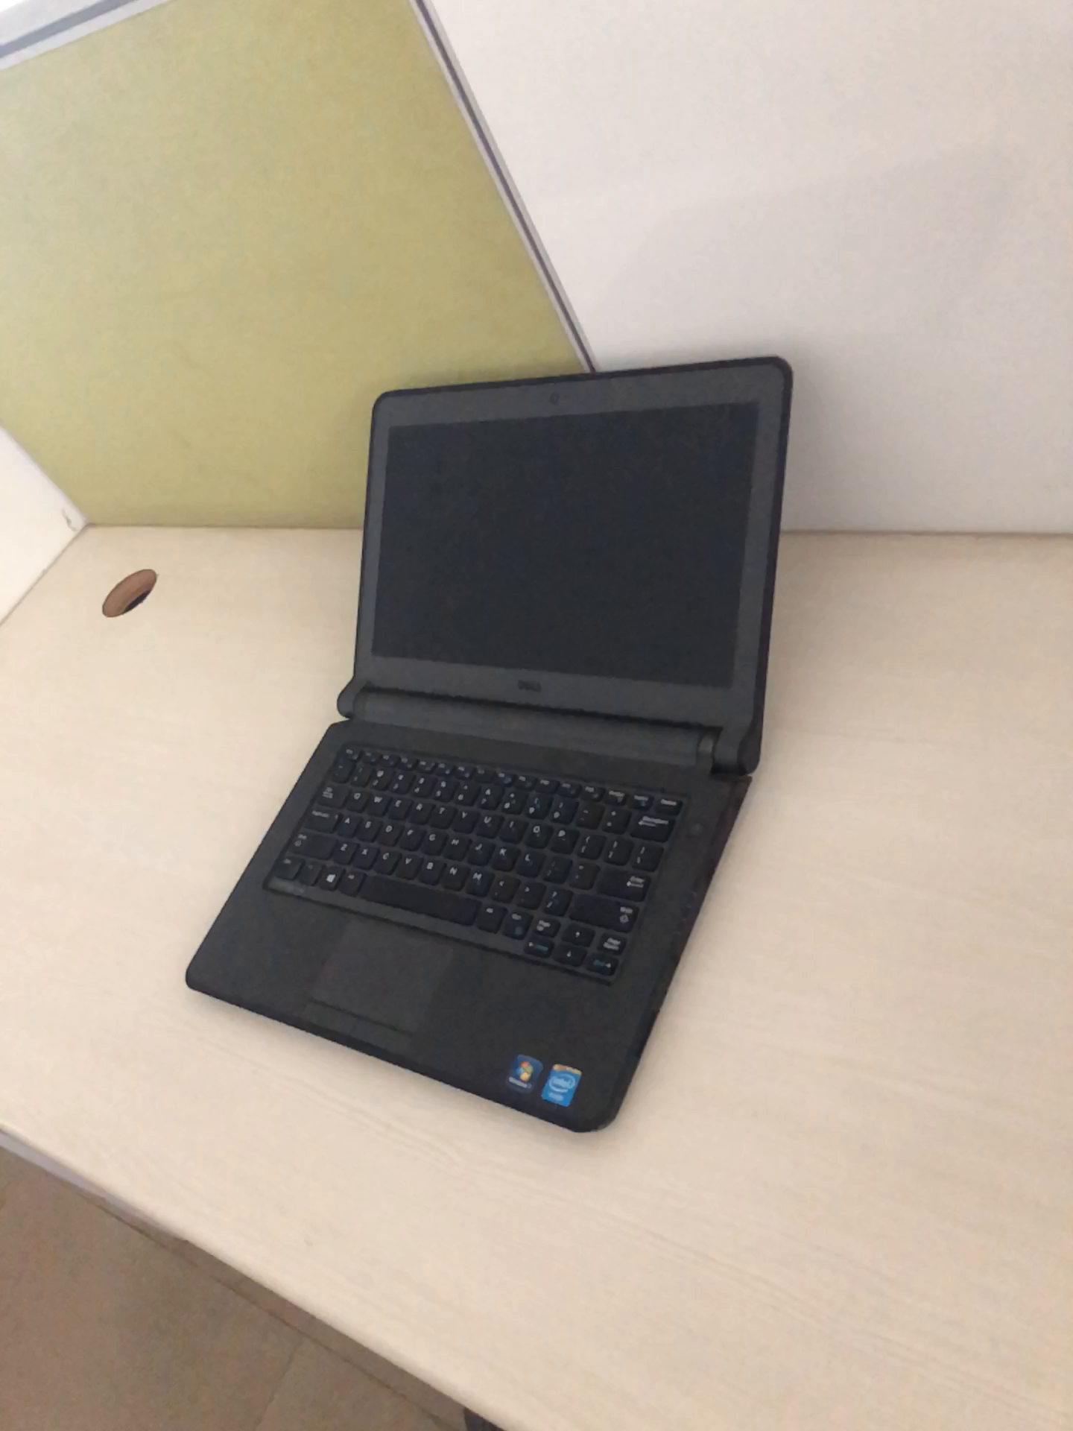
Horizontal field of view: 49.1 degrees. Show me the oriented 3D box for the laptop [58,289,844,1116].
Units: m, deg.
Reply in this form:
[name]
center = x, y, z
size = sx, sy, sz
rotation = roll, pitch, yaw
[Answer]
[laptop]
center = -0.042, -0.038, 0.699
size = 0.317, 0.122, 0.416
rotation = 7, 61, 36
